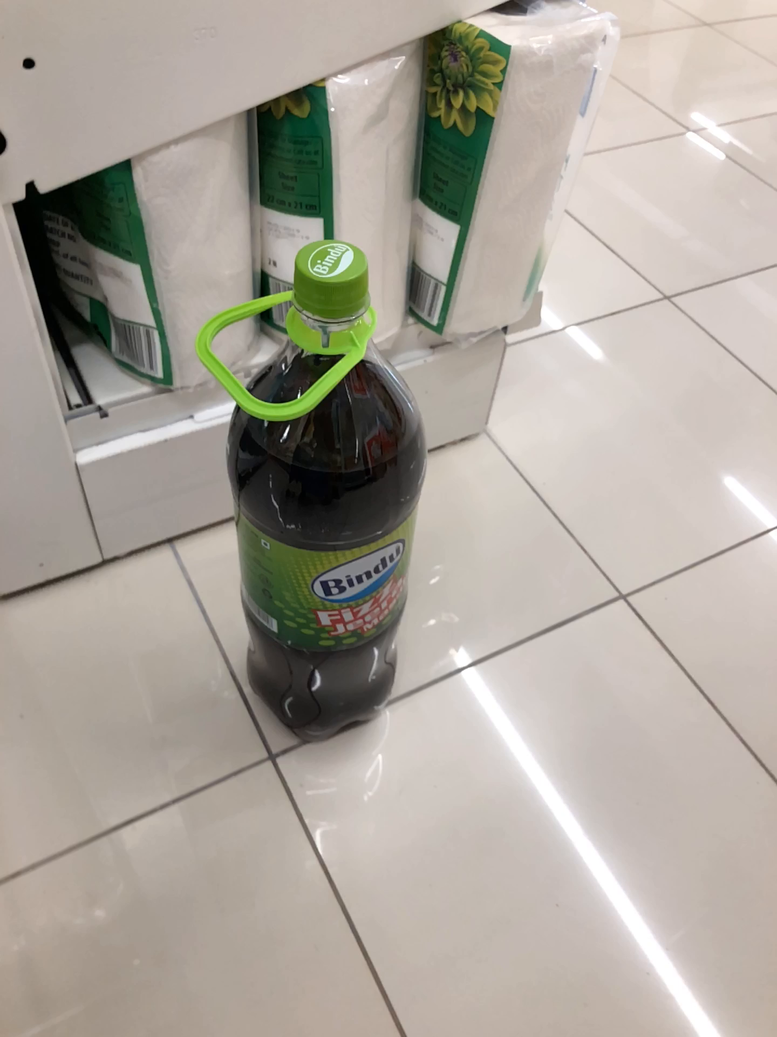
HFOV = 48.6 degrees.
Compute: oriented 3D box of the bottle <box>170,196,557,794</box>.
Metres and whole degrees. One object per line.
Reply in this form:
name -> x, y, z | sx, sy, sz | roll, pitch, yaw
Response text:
bottle -> -0.022, 0.011, 0.438 | 0.110, 0.298, 0.100 | -24, 56, -23
